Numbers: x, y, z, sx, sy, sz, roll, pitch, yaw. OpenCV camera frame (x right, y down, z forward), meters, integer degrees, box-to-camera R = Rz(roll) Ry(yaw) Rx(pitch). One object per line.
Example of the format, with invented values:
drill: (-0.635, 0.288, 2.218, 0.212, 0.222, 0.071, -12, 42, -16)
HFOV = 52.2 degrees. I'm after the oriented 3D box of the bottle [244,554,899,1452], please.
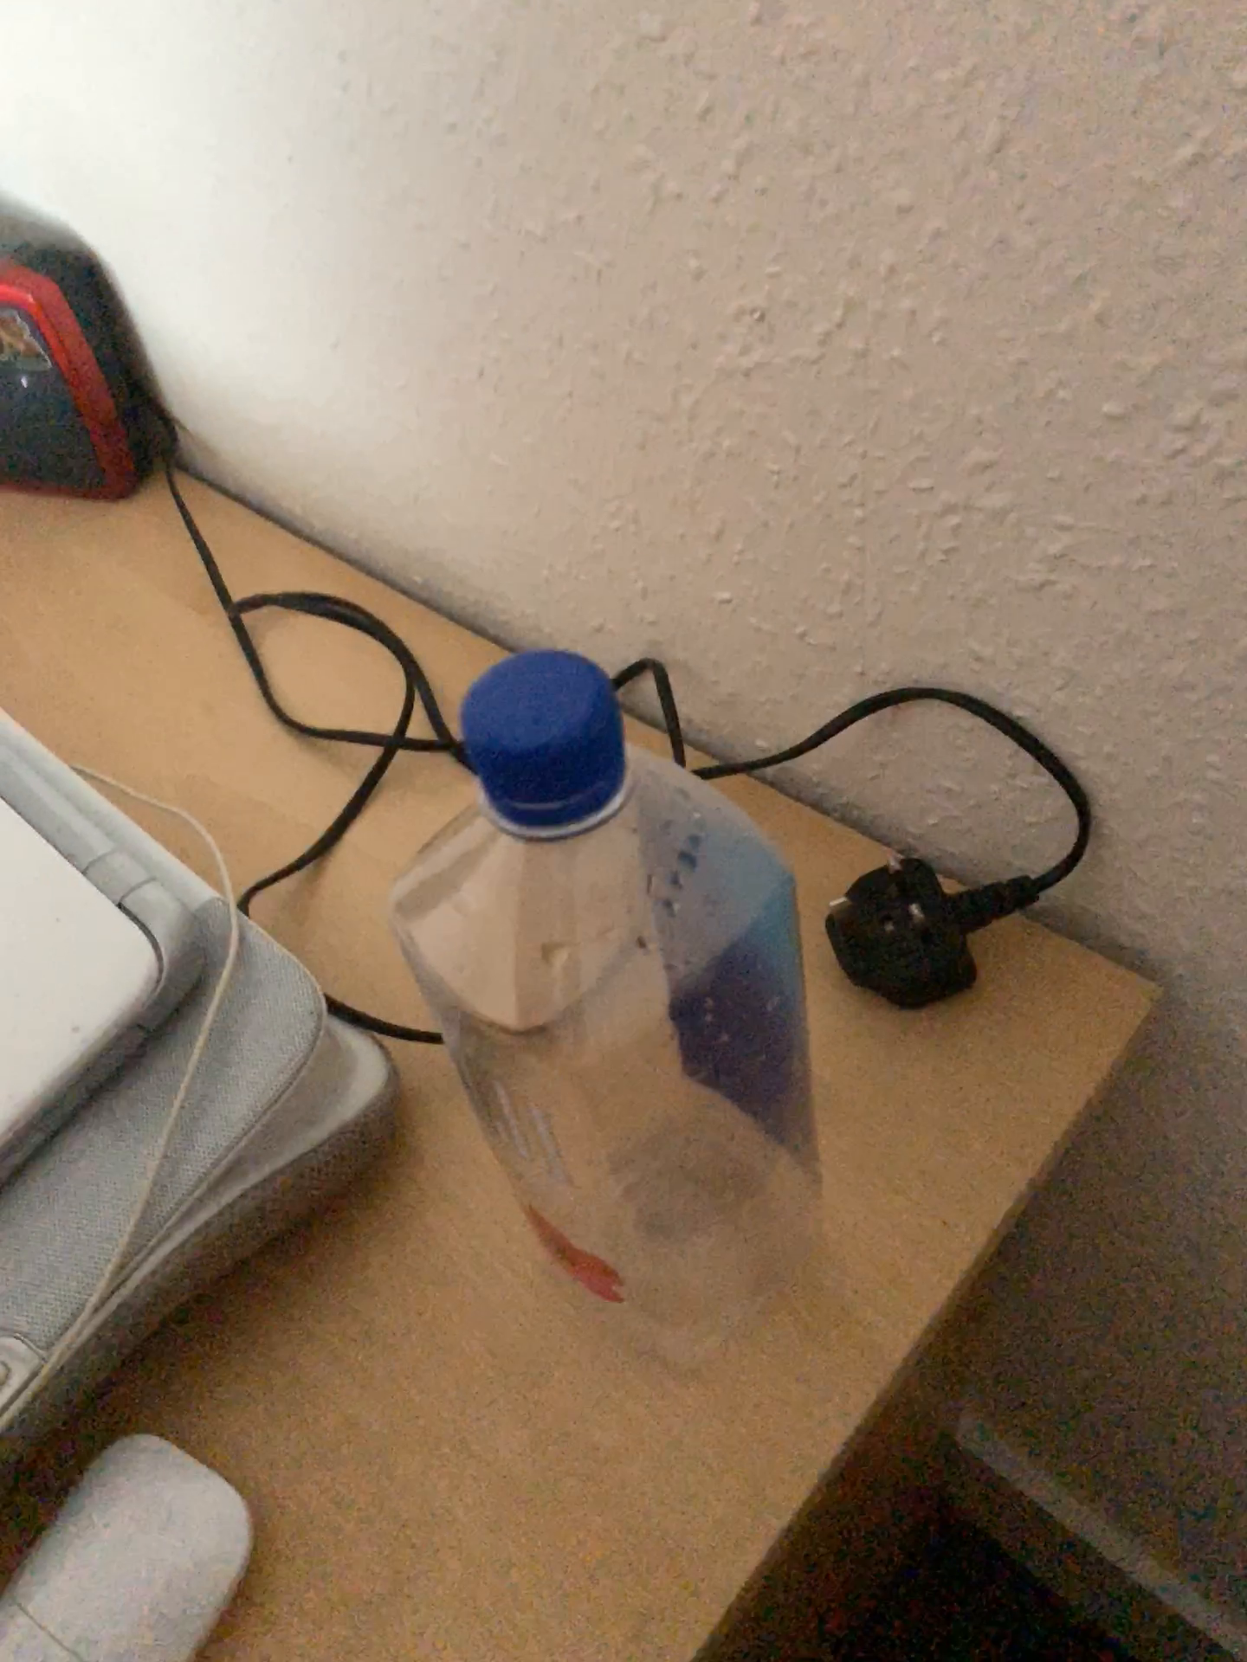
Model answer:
bottle: (0.001, 0.054, 0.308, 0.091, 0.208, 0.080, 32, 60, 31)
